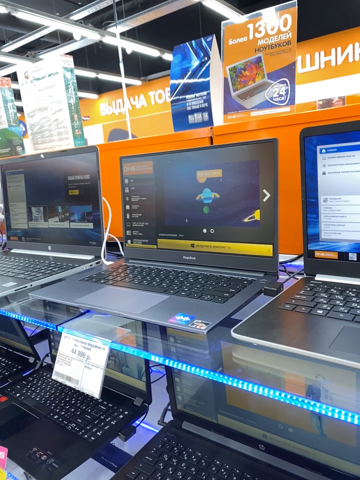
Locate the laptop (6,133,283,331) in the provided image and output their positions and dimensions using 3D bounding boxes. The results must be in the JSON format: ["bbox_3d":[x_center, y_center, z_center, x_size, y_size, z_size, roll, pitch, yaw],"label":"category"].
[{"bbox_3d":[-0.047,-0.033,0.561,0.324,0.203,0.237,2,13,35],"label":"laptop"}]
